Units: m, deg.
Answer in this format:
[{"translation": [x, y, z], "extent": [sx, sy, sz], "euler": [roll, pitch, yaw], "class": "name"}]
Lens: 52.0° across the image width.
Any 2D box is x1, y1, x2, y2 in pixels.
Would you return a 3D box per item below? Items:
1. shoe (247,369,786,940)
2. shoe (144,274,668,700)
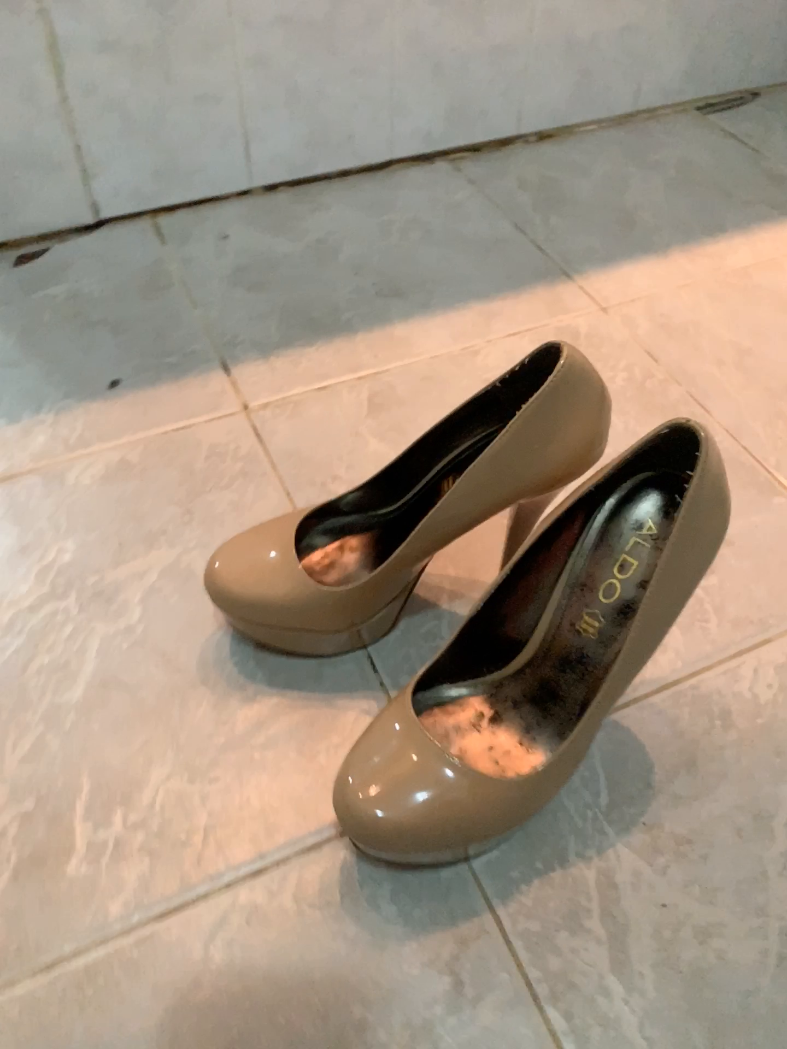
[{"translation": [0.059, 0.058, 0.359], "extent": [0.211, 0.166, 0.087], "euler": [-28, 56, -23], "class": "shoe"}, {"translation": [0.001, -0.014, 0.414], "extent": [0.210, 0.176, 0.087], "euler": [-11, 51, -10], "class": "shoe"}]
